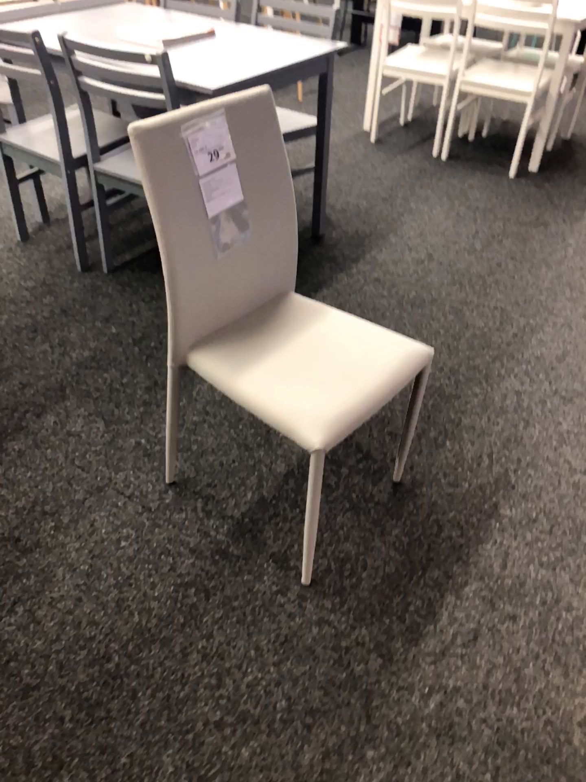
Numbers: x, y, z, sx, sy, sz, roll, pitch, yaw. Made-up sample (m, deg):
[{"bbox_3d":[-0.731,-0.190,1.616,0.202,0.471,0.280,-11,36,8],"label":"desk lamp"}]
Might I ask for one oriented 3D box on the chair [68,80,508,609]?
[{"bbox_3d":[-0.010,-0.106,1.326,0.540,0.815,0.503,27,45,27],"label":"chair"}]
